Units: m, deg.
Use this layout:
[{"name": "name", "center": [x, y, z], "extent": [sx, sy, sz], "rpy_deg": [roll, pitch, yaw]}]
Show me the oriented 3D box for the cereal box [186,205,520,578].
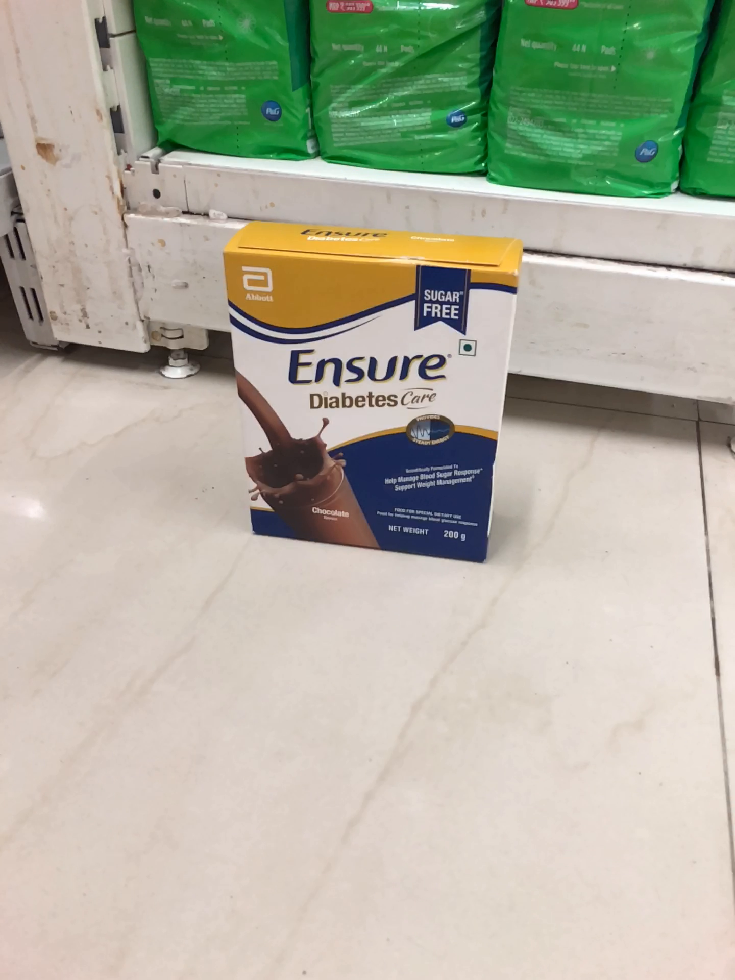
[{"name": "cereal box", "center": [-0.004, -0.046, 0.408], "extent": [0.140, 0.169, 0.050], "rpy_deg": [7, 37, 10]}]
